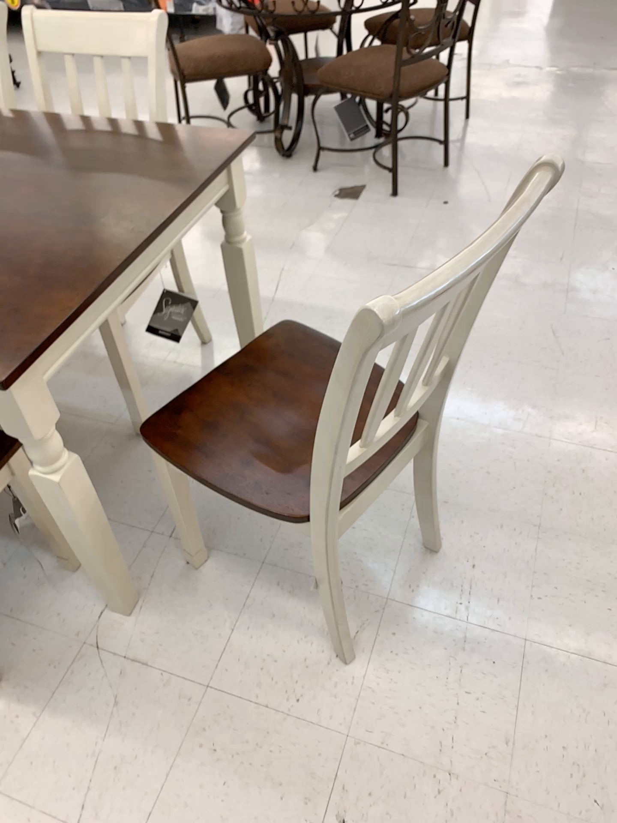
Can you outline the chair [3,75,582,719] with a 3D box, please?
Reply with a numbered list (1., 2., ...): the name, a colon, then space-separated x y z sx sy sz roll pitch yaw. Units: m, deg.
1. chair: 0.008 -0.005 1.165 0.571 0.906 0.531 27 53 28
